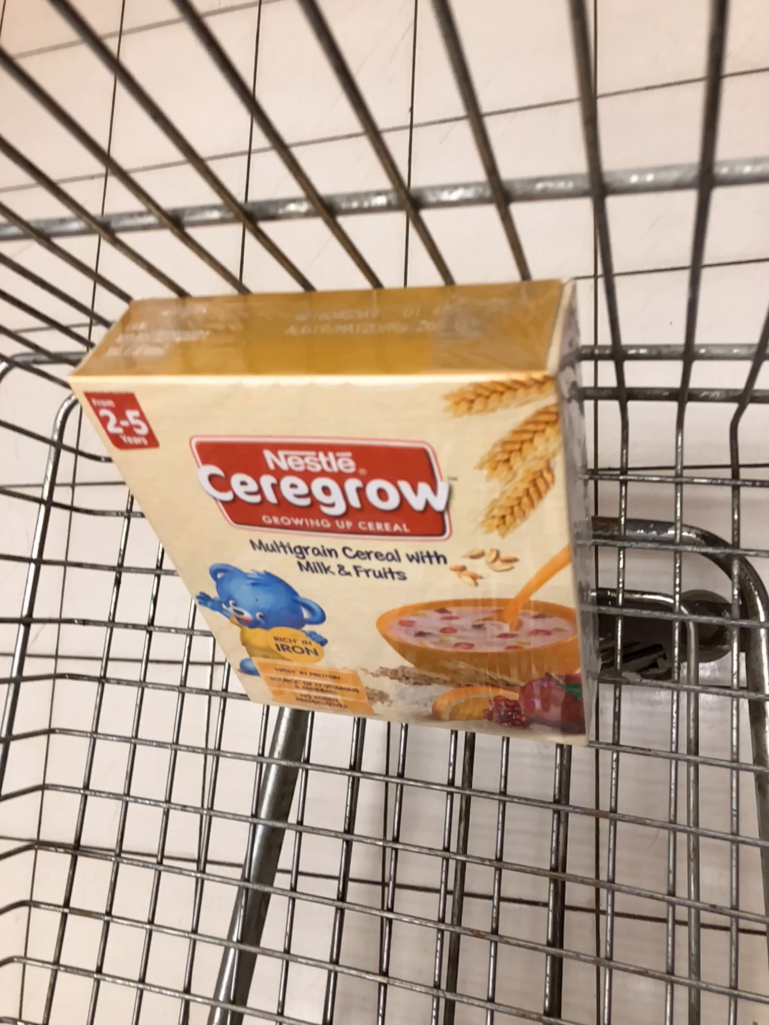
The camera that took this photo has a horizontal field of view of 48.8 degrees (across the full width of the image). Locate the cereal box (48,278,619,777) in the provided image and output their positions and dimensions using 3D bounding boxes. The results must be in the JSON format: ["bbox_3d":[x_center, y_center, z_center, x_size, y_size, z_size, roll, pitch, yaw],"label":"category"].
[{"bbox_3d":[0.000,0.016,0.309,0.160,0.189,0.050,3,46,19],"label":"cereal box"}]
